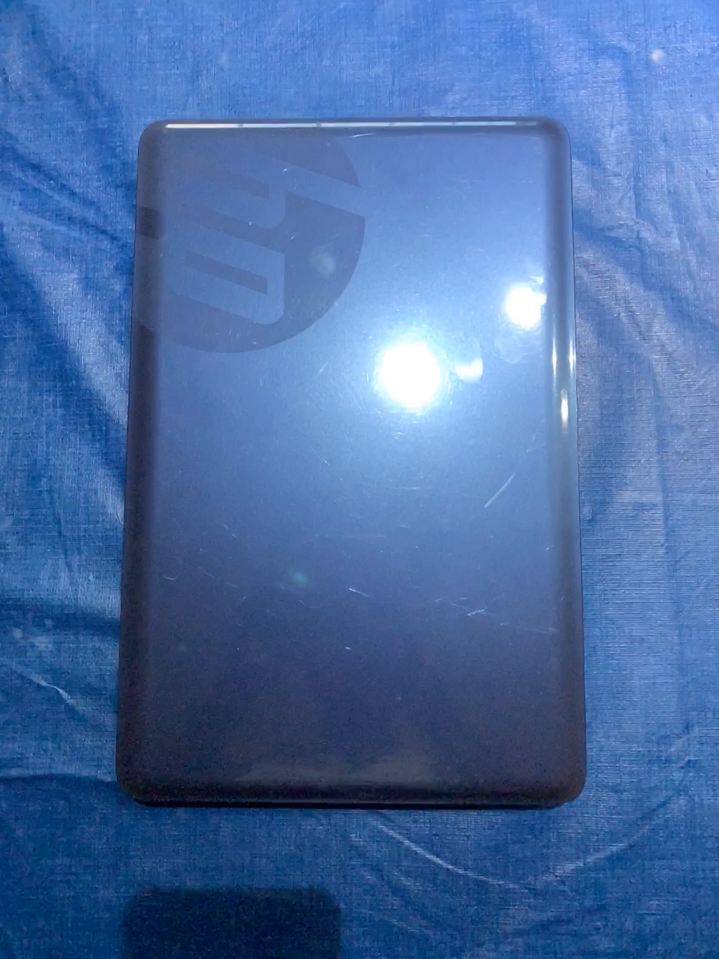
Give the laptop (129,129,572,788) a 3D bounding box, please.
[{"bbox_3d":[-0.004,-0.017,0.409,0.235,0.009,0.363,0,86,1],"label":"laptop"}]
